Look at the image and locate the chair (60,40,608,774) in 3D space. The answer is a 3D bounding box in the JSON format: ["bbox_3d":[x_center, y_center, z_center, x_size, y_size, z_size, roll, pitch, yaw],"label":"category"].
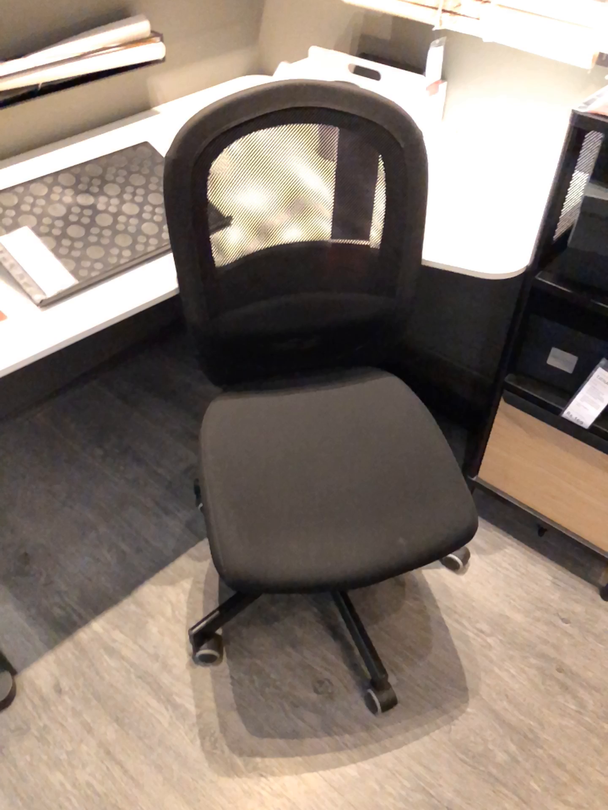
[{"bbox_3d":[0.036,0.004,1.122,0.630,0.884,0.714,-11,46,-12],"label":"chair"}]
